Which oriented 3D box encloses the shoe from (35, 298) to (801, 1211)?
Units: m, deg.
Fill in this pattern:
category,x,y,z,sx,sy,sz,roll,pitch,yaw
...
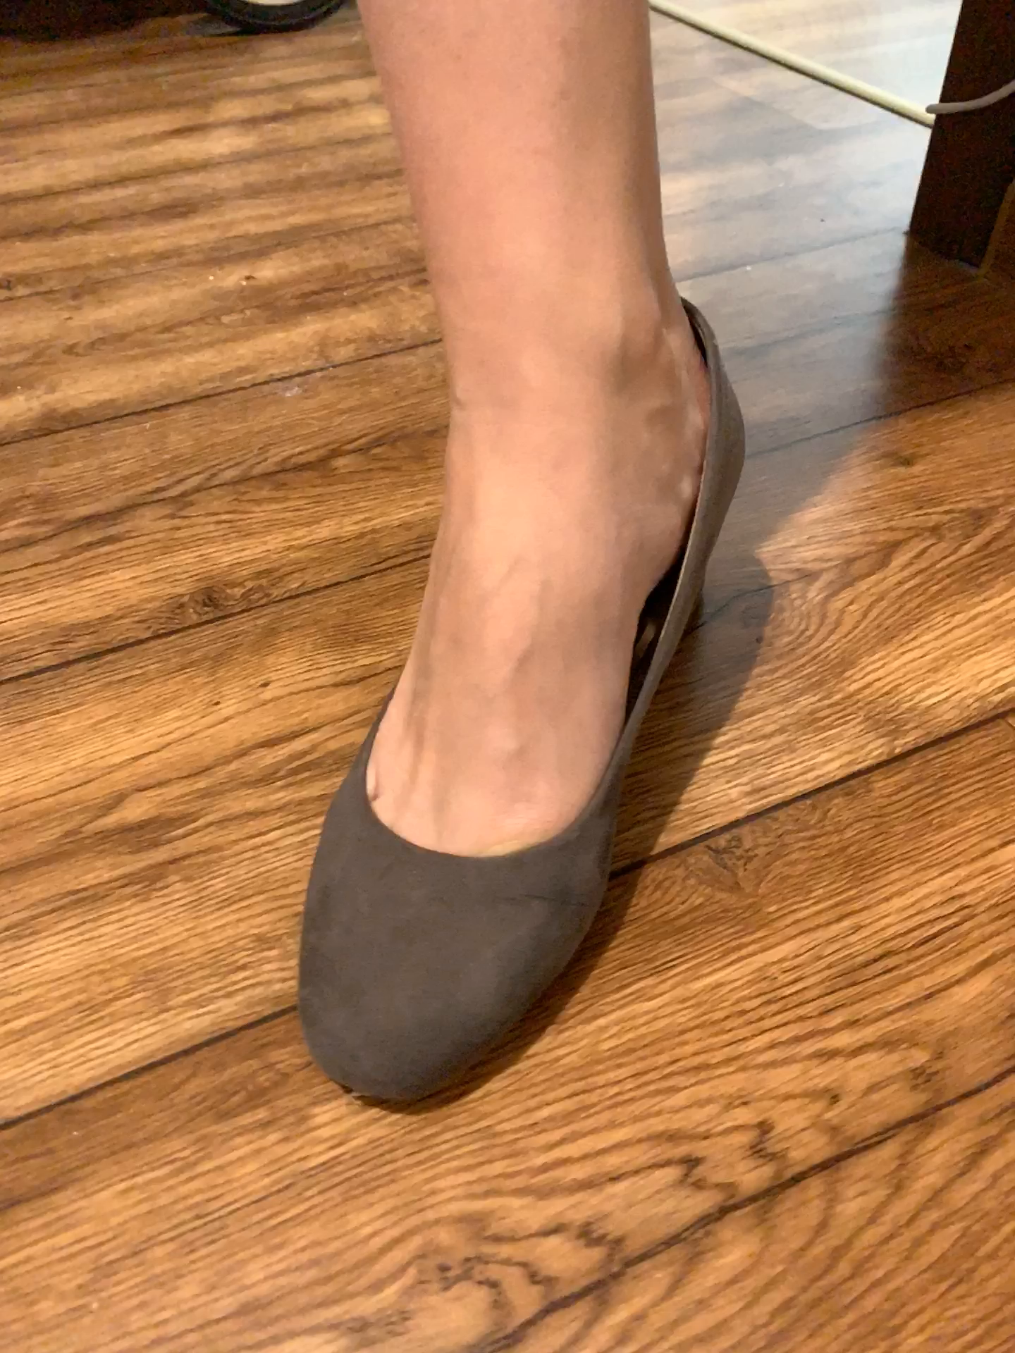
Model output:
category,x,y,z,sx,sy,sz,roll,pitch,yaw
shoe,0.002,0.001,0.277,0.083,0.109,0.211,16,47,21
